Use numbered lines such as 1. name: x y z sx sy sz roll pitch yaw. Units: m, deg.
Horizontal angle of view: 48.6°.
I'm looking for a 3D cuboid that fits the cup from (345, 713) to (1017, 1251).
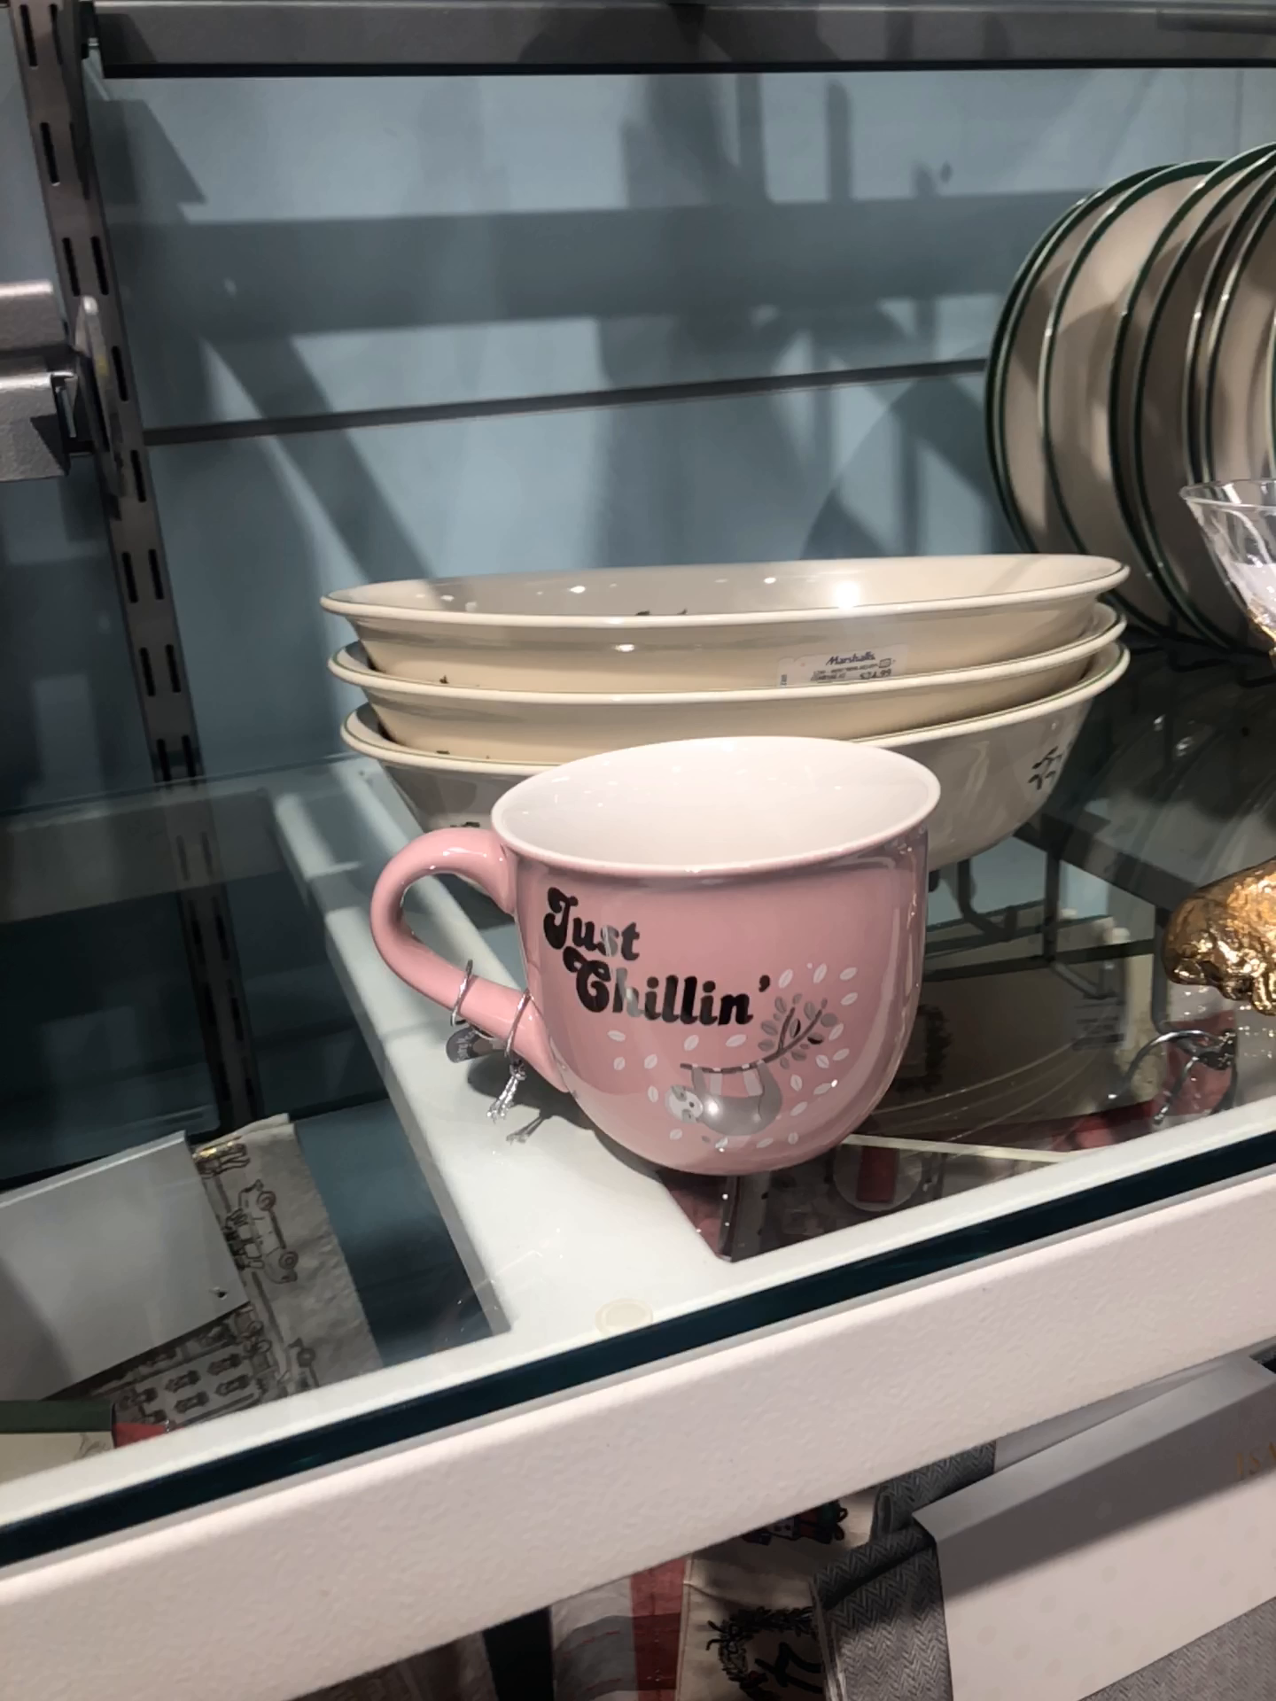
1. cup: 0.010 0.025 0.351 0.136 0.085 0.112 -4 19 0
